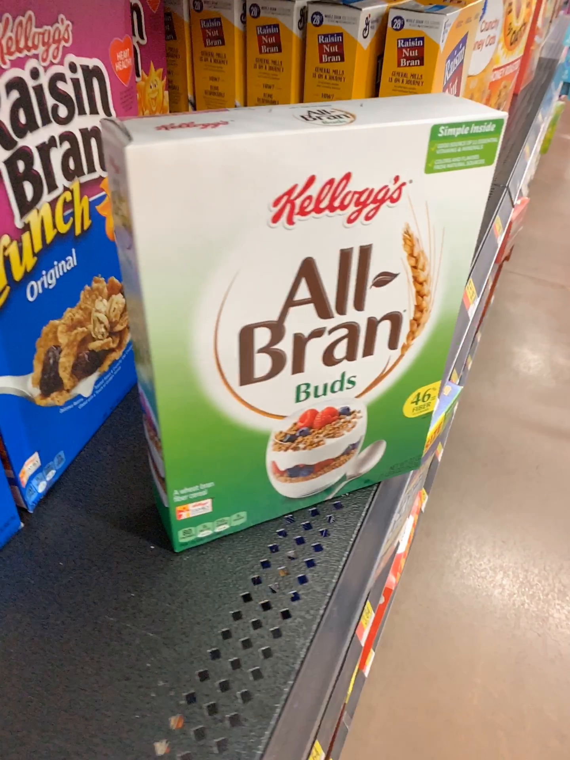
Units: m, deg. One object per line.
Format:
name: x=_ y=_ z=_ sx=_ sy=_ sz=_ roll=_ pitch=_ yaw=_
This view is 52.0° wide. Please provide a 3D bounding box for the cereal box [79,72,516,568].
cereal box: x=0.007 y=-0.024 z=0.334 sx=0.190 sy=0.259 sz=0.050 roll=-14 pitch=40 yaw=-21
